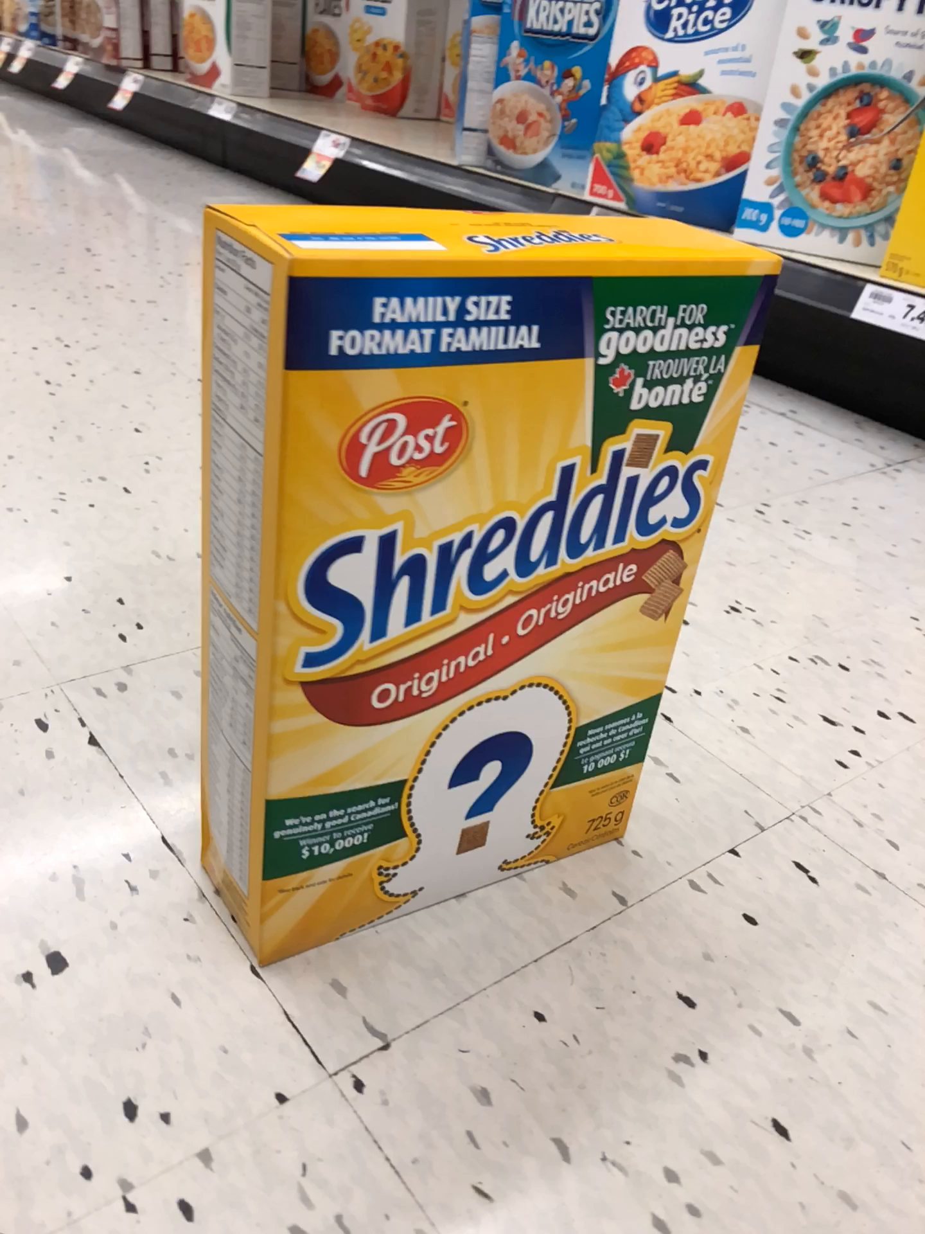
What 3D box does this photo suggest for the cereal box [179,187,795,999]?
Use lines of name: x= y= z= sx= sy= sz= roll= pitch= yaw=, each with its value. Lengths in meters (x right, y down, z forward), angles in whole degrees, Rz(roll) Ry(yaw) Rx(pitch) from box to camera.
cereal box: x=-0.006 y=-0.004 z=0.437 sx=0.210 sy=0.318 sz=0.070 roll=-12 pitch=38 yaw=-31
